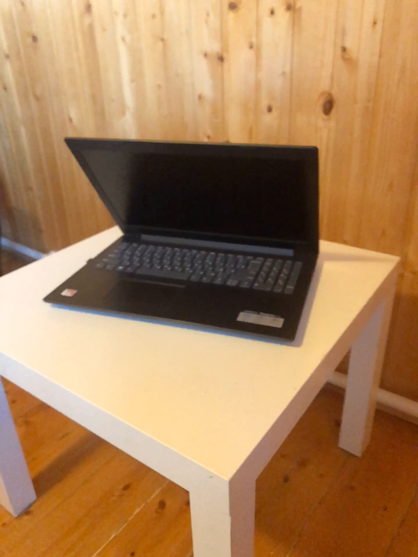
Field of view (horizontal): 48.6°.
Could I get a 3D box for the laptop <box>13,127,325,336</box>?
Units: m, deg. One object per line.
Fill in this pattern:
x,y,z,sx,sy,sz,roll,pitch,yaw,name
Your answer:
-0.037,-0.098,0.697,0.372,0.206,0.251,7,28,18,laptop
